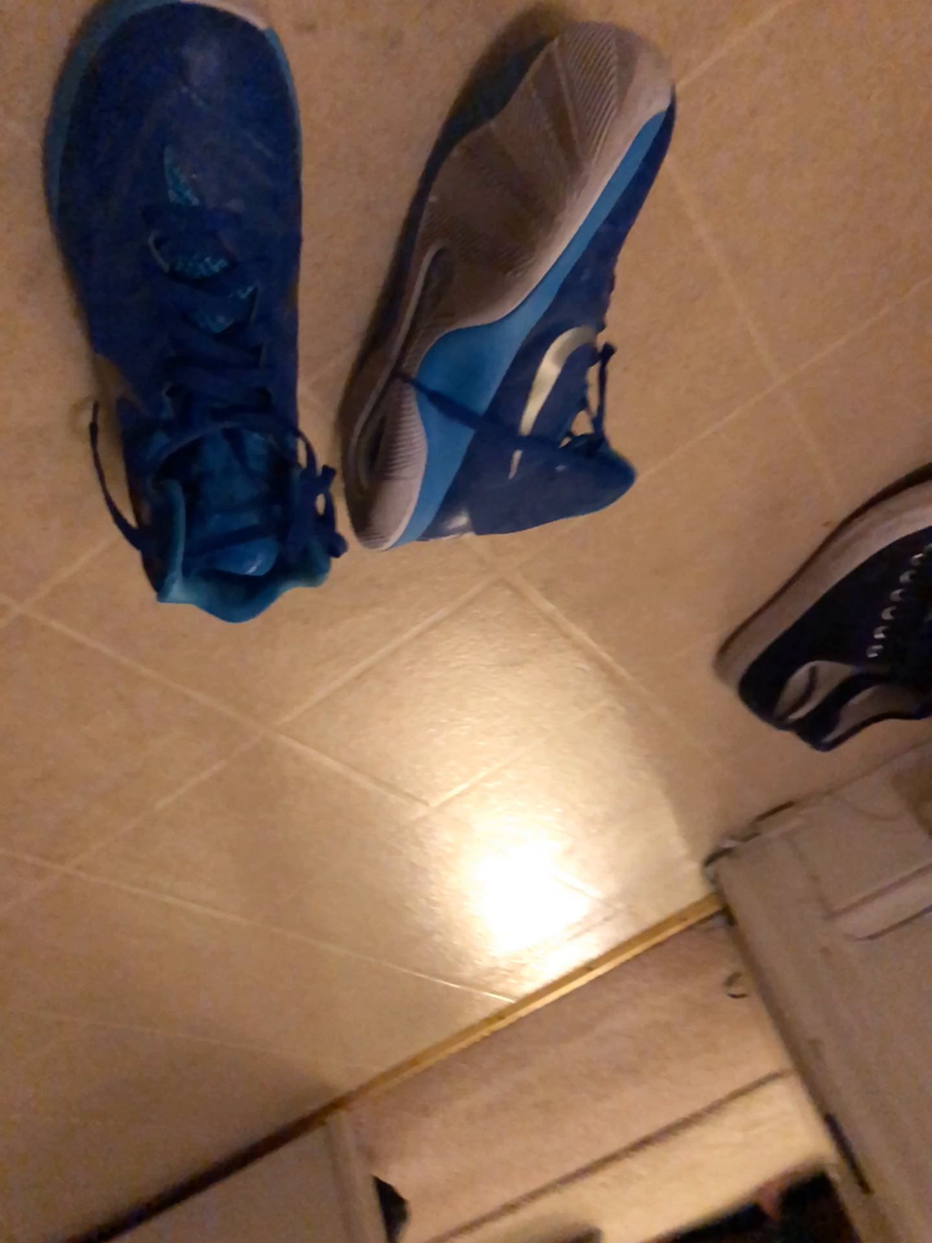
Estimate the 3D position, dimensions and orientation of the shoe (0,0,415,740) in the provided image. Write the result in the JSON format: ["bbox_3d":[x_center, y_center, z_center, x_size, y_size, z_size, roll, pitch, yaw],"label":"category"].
[{"bbox_3d":[-0.110,-0.106,0.455,0.120,0.144,0.311,-9,140,-16],"label":"shoe"}]

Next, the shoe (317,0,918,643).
[{"bbox_3d":[0.049,-0.134,0.507,0.159,0.120,0.282,-5,139,-29],"label":"shoe"}]
